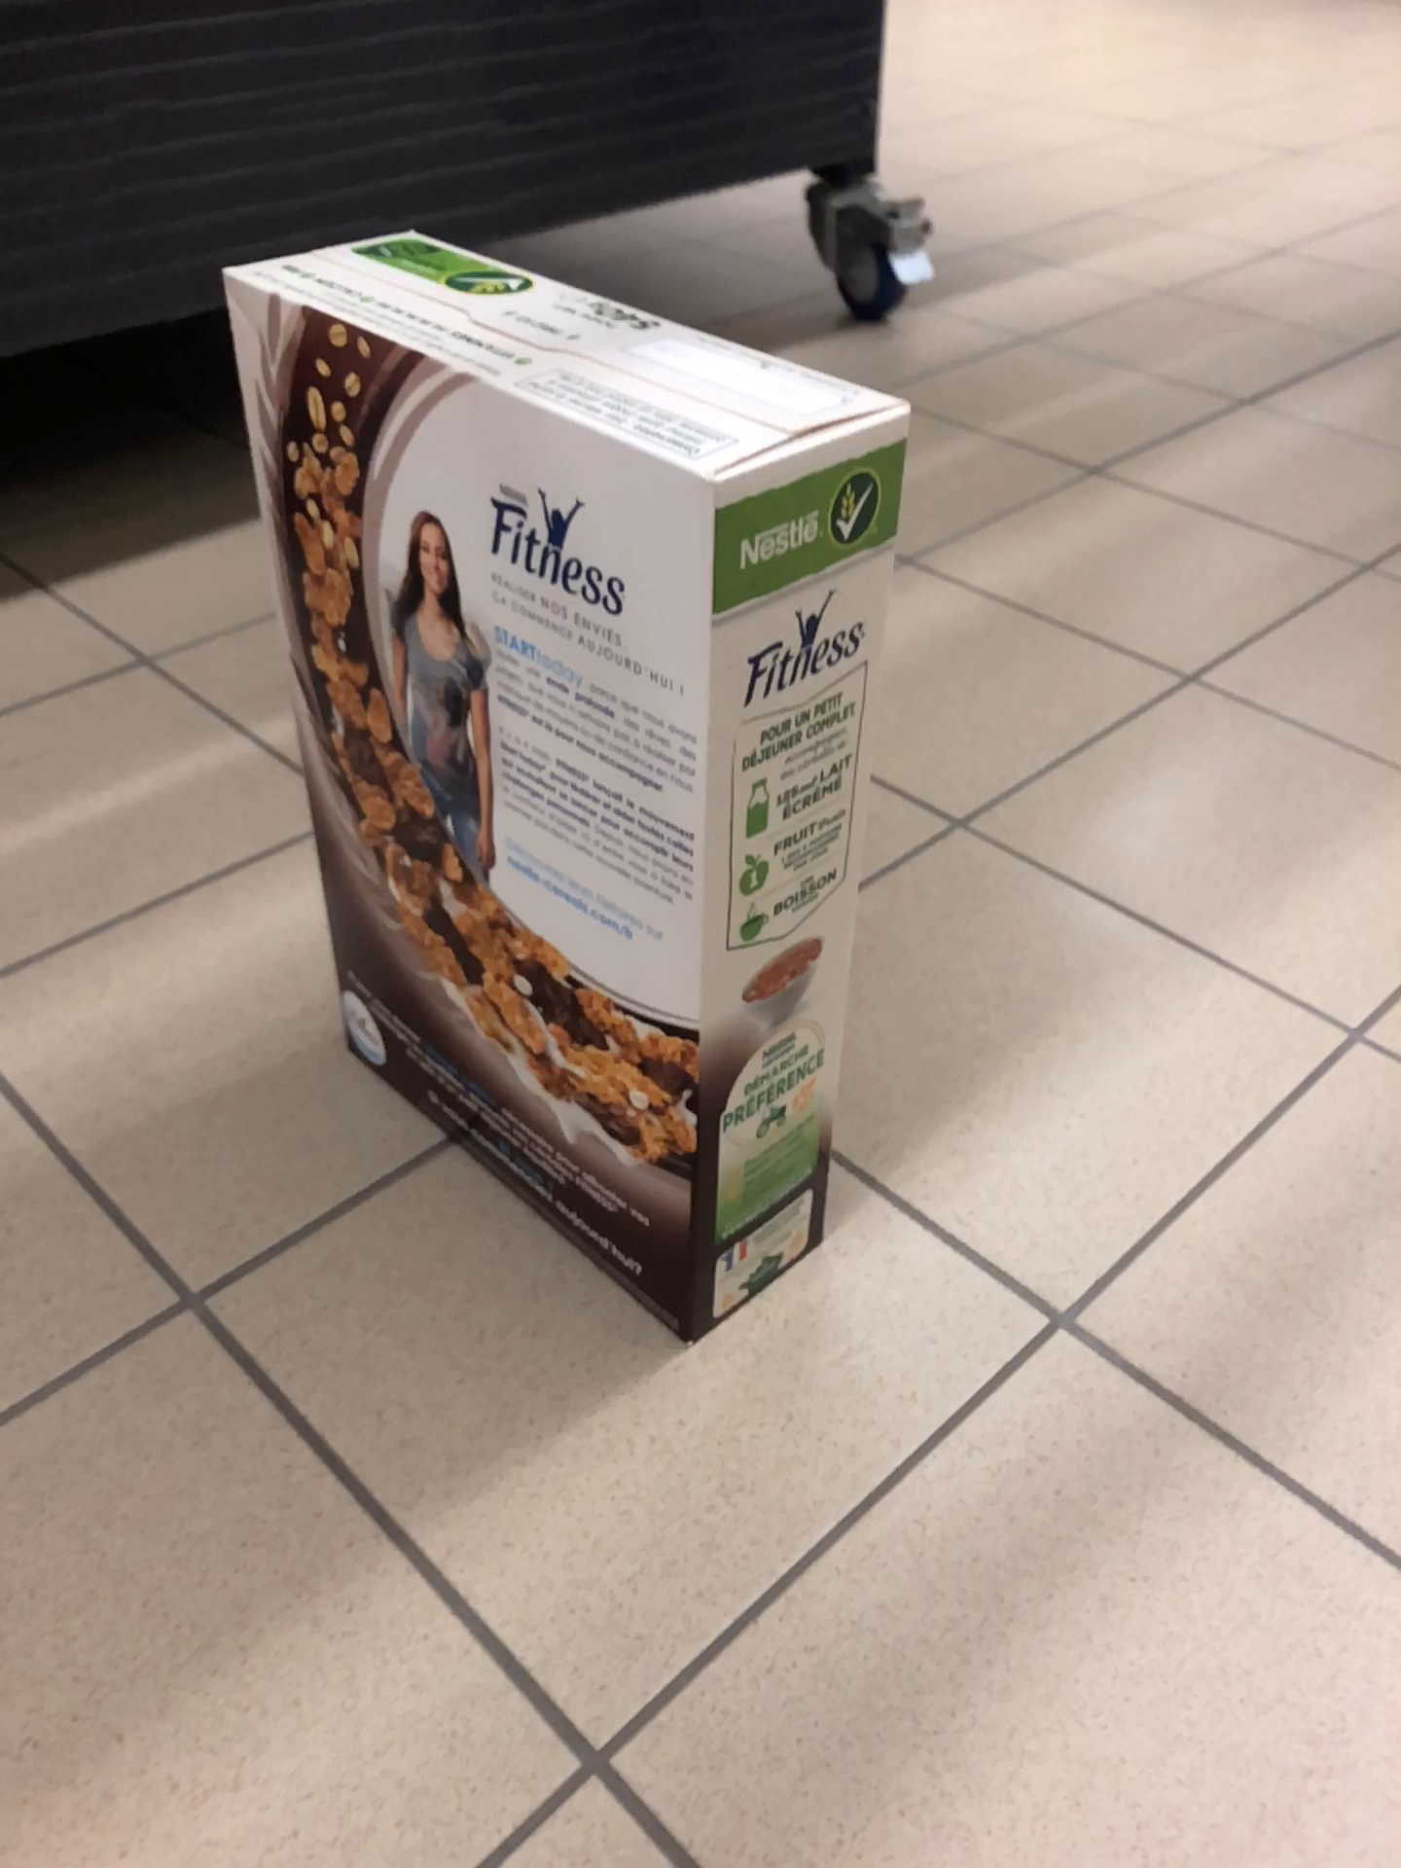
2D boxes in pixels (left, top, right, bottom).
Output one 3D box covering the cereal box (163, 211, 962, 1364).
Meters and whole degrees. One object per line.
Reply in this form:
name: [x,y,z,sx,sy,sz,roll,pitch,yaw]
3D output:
cereal box: [-0.047,-0.042,0.471,0.080,0.278,0.210,-31,49,-34]
